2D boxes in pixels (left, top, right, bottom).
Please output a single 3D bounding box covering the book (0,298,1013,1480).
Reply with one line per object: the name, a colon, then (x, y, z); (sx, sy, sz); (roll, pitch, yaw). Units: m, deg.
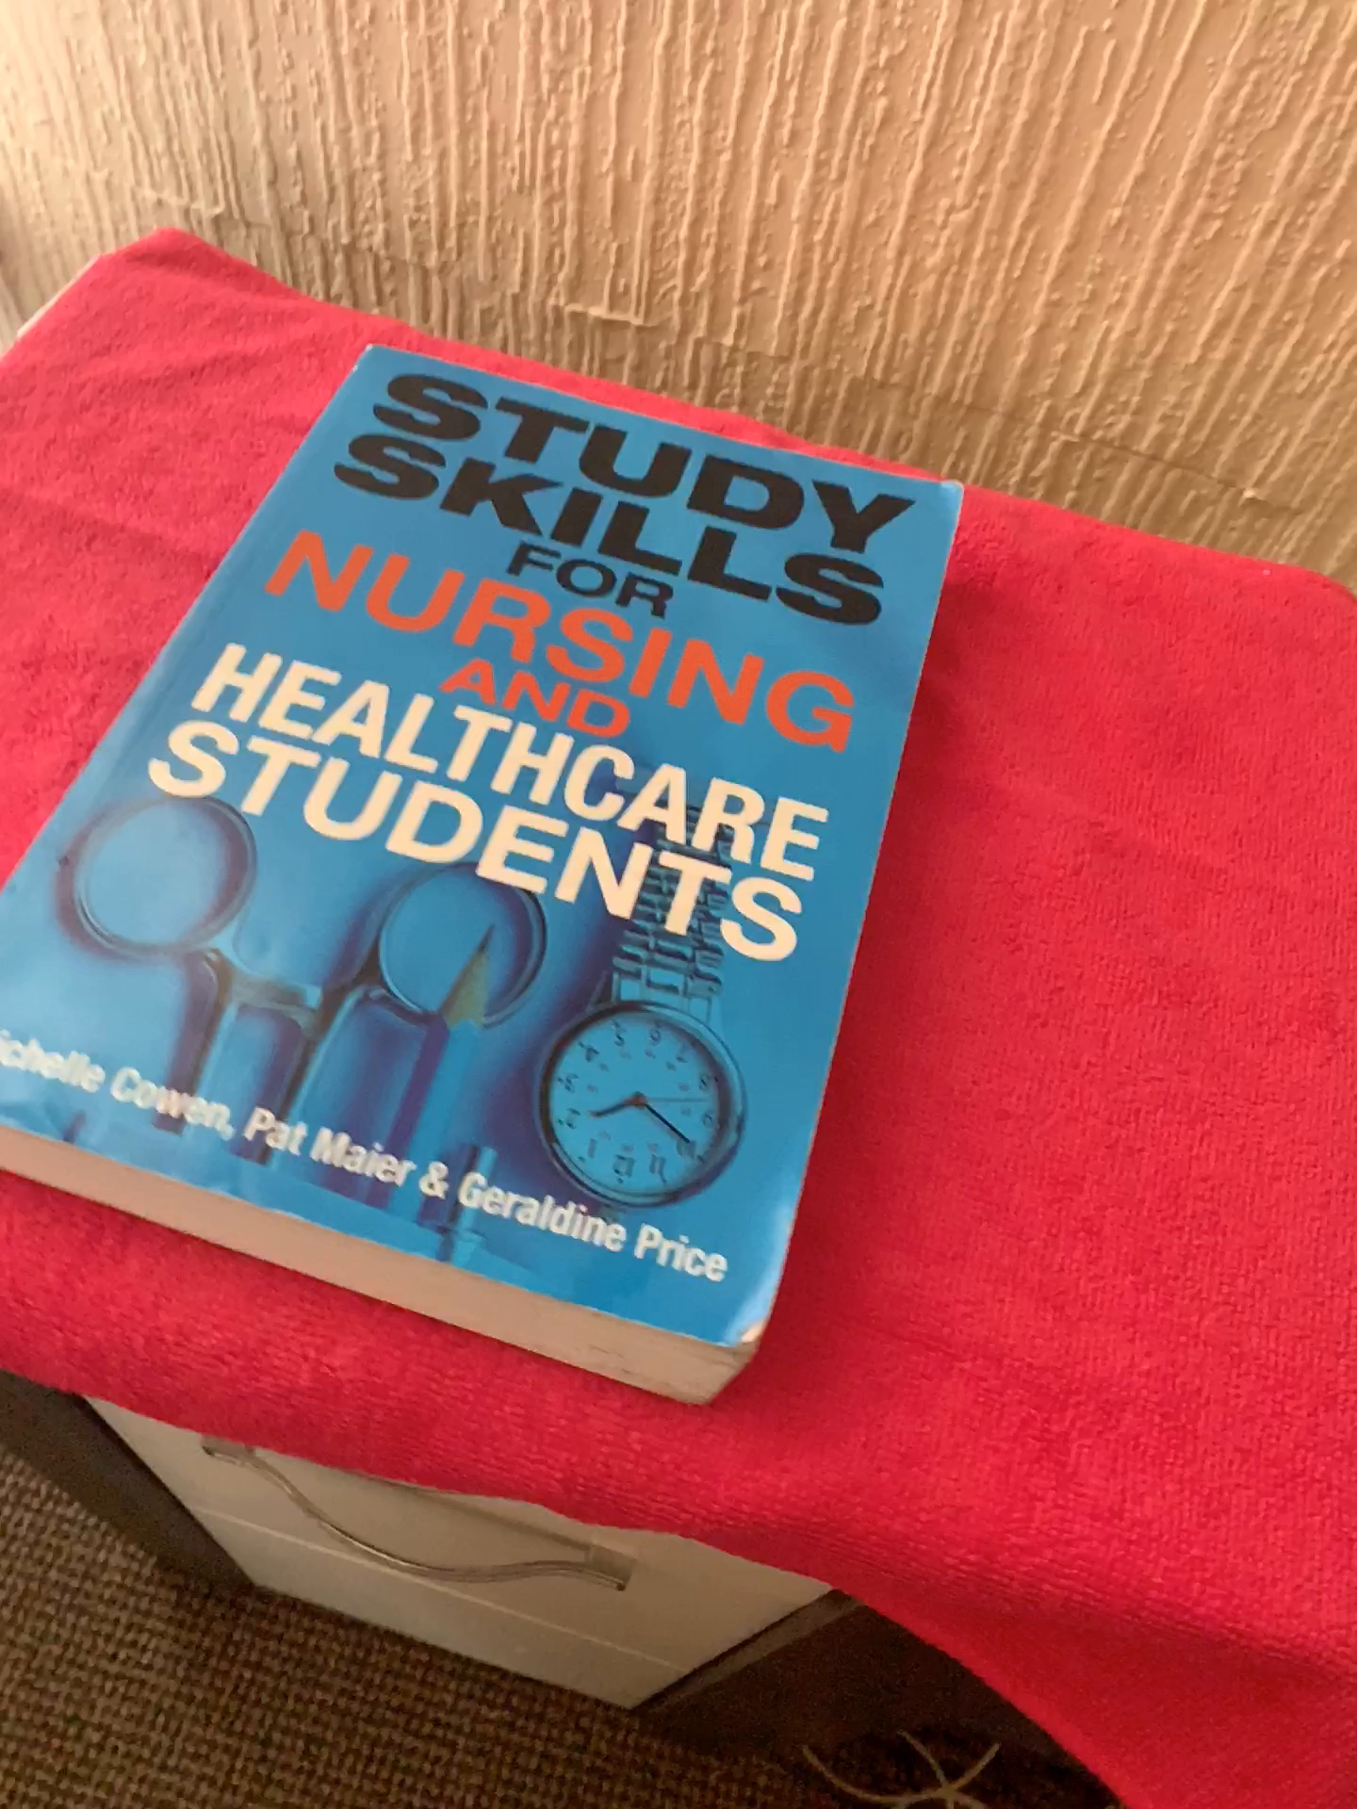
book: (-0.036, -0.033, 0.336); (0.200, 0.040, 0.272); (16, 53, 2)
